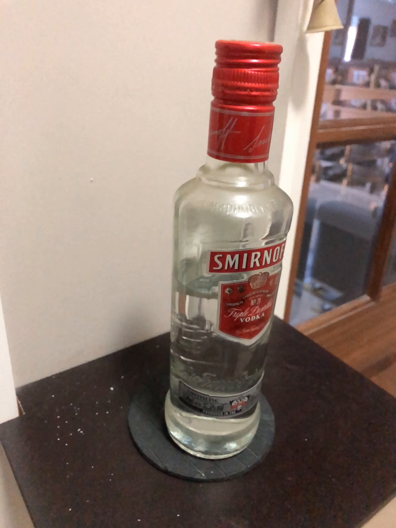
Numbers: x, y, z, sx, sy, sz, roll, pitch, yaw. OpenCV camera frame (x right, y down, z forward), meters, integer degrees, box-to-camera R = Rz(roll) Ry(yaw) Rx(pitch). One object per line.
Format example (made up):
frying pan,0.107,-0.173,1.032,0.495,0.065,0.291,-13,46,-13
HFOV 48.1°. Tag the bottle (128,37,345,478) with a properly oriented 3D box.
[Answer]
bottle,0.009,0.000,0.244,0.070,0.219,0.070,3,25,-1
